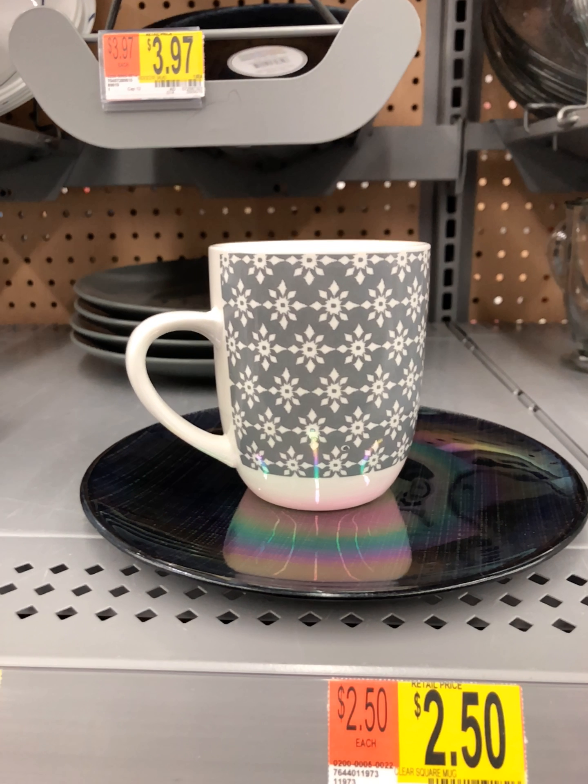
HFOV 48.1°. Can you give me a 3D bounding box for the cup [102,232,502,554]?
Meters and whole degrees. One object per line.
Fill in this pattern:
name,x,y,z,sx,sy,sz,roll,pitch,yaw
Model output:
cup,-0.003,-0.012,0.264,0.129,0.096,0.094,-6,16,-18
